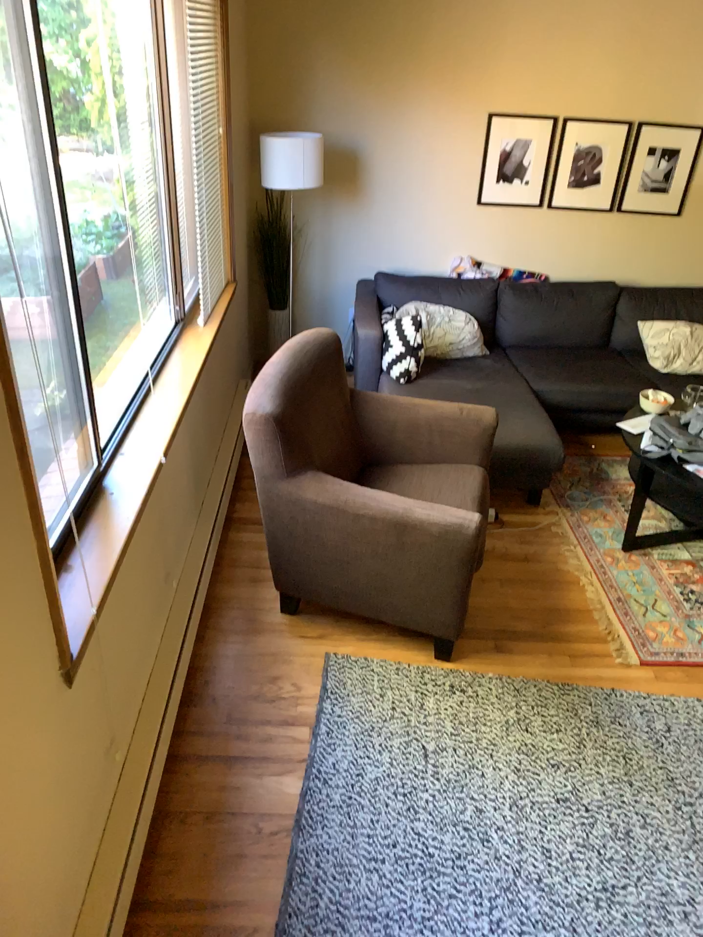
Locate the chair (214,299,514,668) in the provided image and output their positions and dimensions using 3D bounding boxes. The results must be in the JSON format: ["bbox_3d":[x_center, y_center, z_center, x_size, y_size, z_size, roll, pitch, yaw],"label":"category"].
[{"bbox_3d":[0.101,-0.007,2.502,0.800,0.875,0.885,6,30,11],"label":"chair"}]
